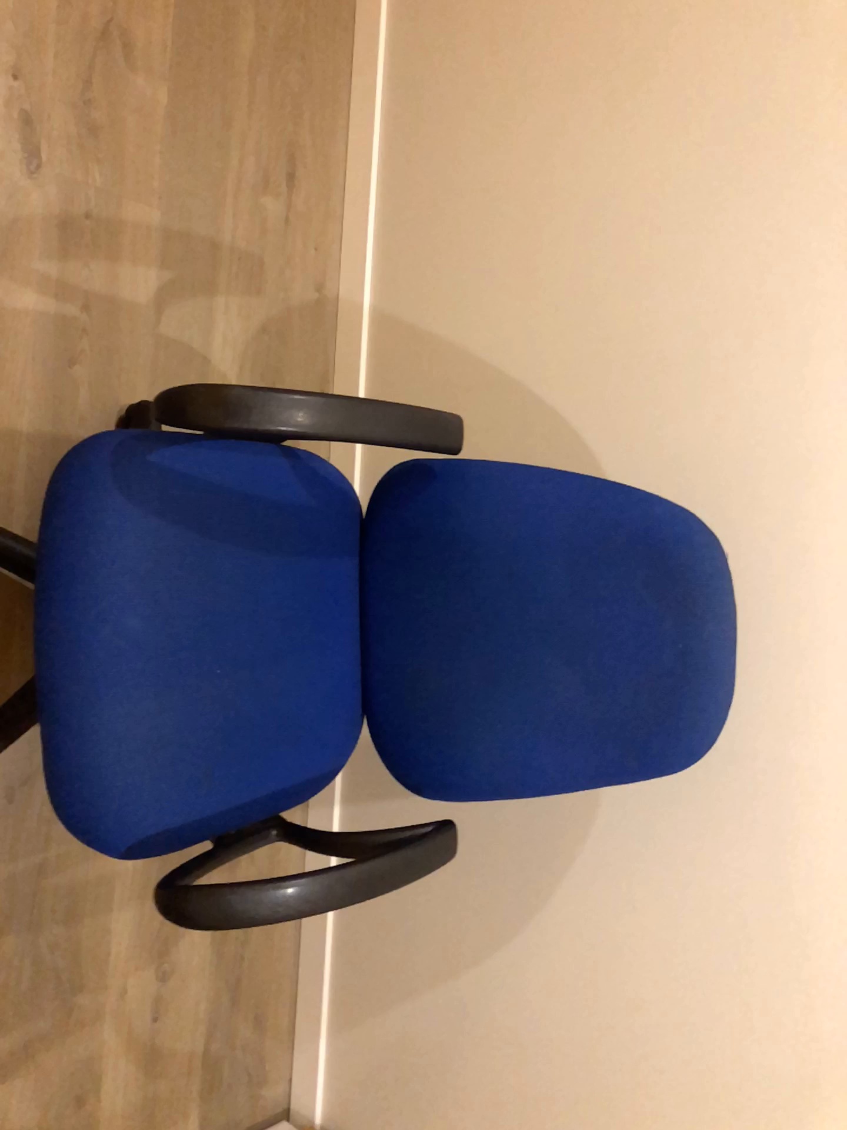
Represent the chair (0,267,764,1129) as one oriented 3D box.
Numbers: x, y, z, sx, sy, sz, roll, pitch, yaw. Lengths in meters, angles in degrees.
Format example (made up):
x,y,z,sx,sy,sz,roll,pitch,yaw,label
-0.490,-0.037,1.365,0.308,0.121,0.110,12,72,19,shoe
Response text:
x,y,z,sx,sy,sz,roll,pitch,yaw,label
-0.153,0.099,1.210,0.704,0.904,0.696,-6,97,-46,chair
